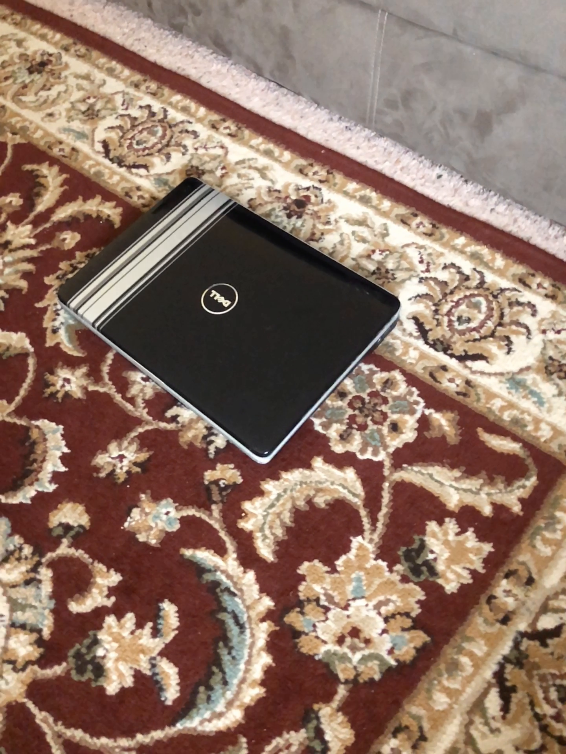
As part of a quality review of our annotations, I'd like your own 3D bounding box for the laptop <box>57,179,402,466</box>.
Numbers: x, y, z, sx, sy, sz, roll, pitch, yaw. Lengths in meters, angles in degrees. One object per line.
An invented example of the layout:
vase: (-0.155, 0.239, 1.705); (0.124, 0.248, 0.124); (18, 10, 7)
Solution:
laptop: (-0.073, -0.088, 0.756); (0.351, 0.015, 0.242); (35, 71, 23)
